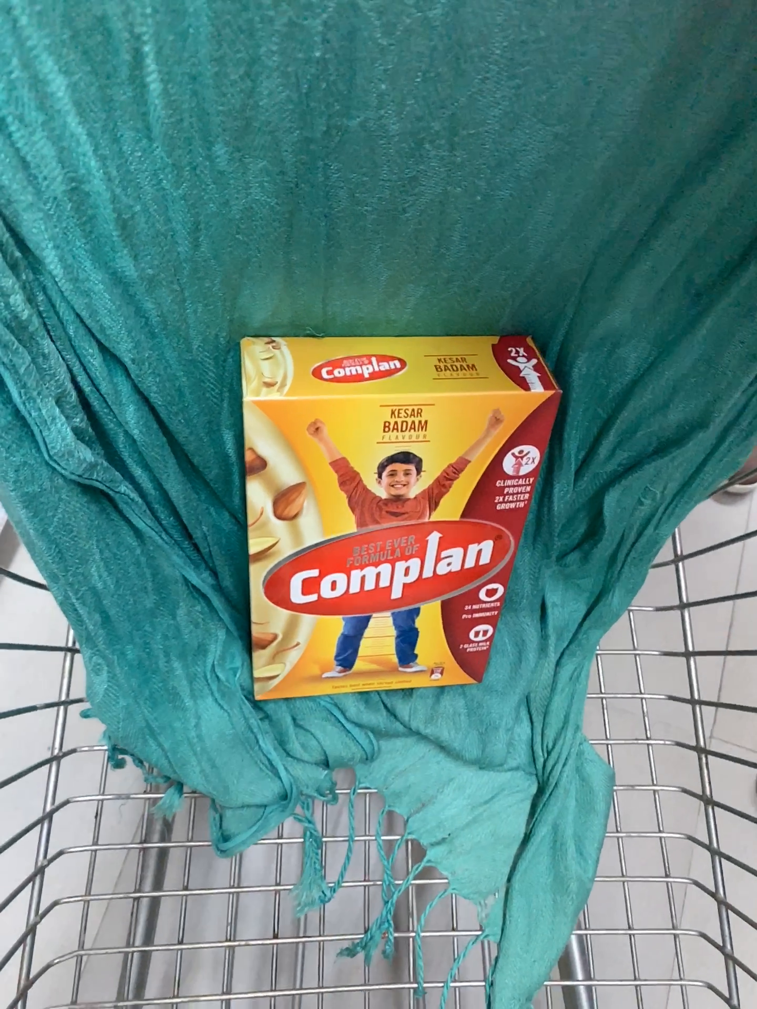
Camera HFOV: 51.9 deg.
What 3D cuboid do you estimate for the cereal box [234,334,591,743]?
[{"bbox_3d":[0.007,0.023,0.382,0.140,0.200,0.060,-2,35,-7],"label":"cereal box"}]
